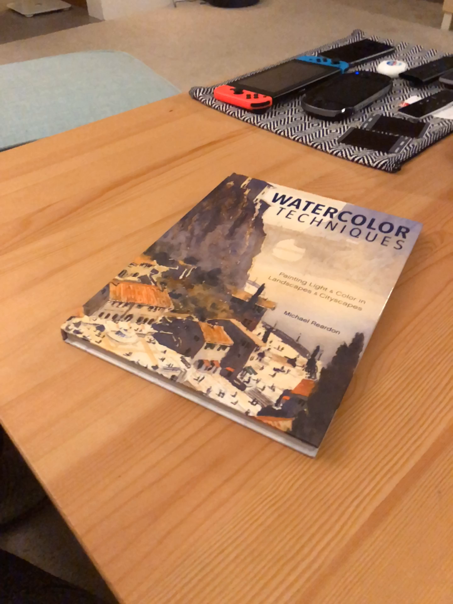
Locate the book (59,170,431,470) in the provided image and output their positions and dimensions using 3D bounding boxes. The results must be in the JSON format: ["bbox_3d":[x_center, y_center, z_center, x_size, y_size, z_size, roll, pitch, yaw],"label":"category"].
[{"bbox_3d":[0.035,-0.021,0.432,0.213,0.020,0.280,20,47,21],"label":"book"}]
